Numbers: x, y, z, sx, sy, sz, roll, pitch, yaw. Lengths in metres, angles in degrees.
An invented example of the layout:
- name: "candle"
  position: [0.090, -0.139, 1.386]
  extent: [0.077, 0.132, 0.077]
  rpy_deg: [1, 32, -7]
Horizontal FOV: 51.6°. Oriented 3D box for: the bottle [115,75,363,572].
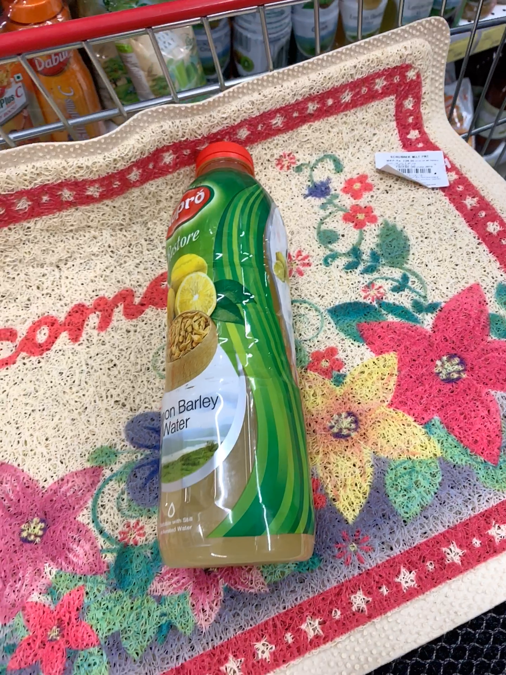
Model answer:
- name: "bottle"
  position: [-0.009, -0.012, 0.310]
  extent: [0.080, 0.090, 0.270]
  rpy_deg: [-20, 59, 30]
